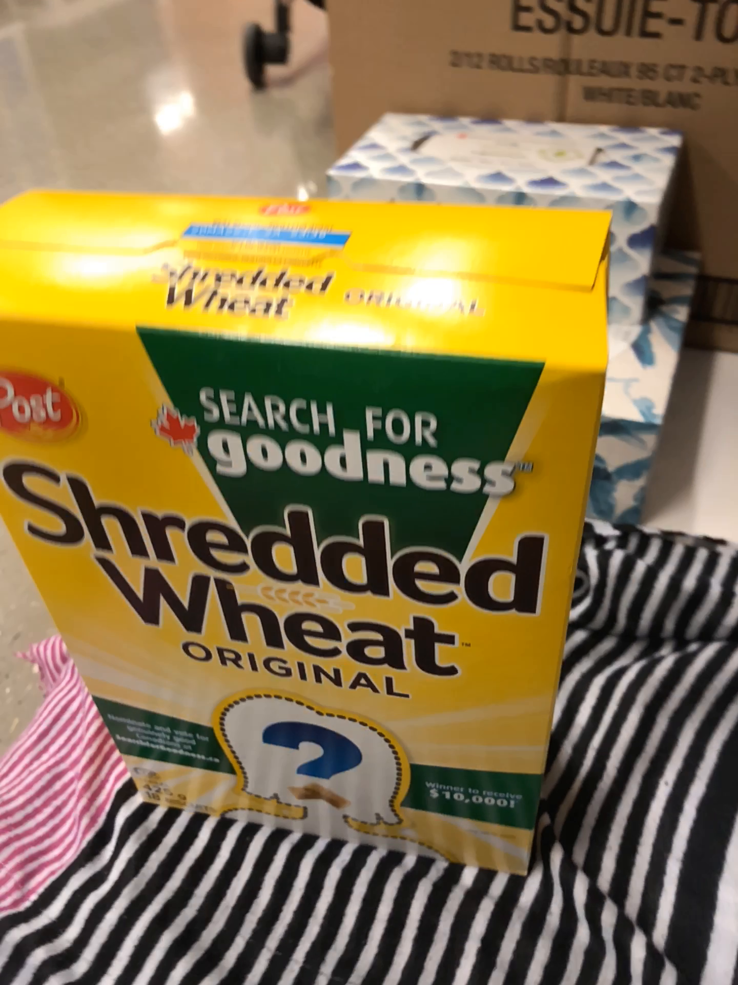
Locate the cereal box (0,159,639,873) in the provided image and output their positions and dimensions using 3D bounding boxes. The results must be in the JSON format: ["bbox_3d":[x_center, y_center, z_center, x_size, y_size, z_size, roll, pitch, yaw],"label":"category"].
[{"bbox_3d":[-0.029,0.027,0.313,0.210,0.269,0.080,6,43,12],"label":"cereal box"}]
